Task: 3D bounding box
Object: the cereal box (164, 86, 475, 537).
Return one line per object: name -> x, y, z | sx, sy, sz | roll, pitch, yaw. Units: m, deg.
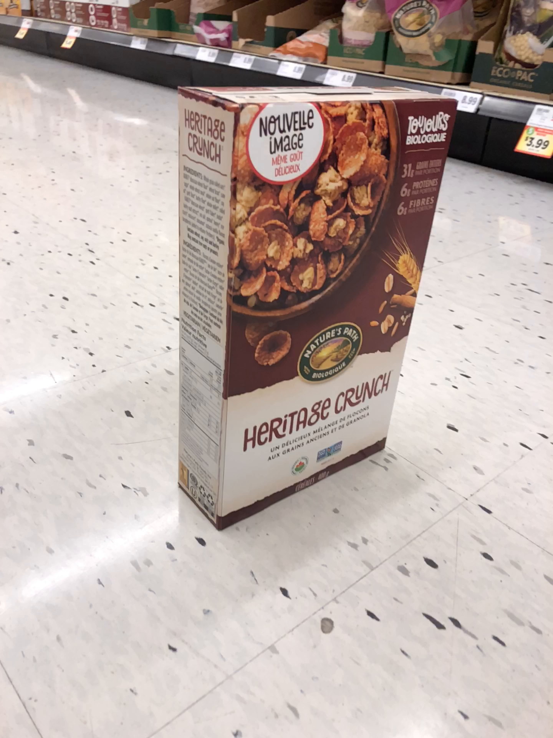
cereal box -> 0.021, -0.039, 0.386 | 0.170, 0.248, 0.060 | -19, 38, -35
